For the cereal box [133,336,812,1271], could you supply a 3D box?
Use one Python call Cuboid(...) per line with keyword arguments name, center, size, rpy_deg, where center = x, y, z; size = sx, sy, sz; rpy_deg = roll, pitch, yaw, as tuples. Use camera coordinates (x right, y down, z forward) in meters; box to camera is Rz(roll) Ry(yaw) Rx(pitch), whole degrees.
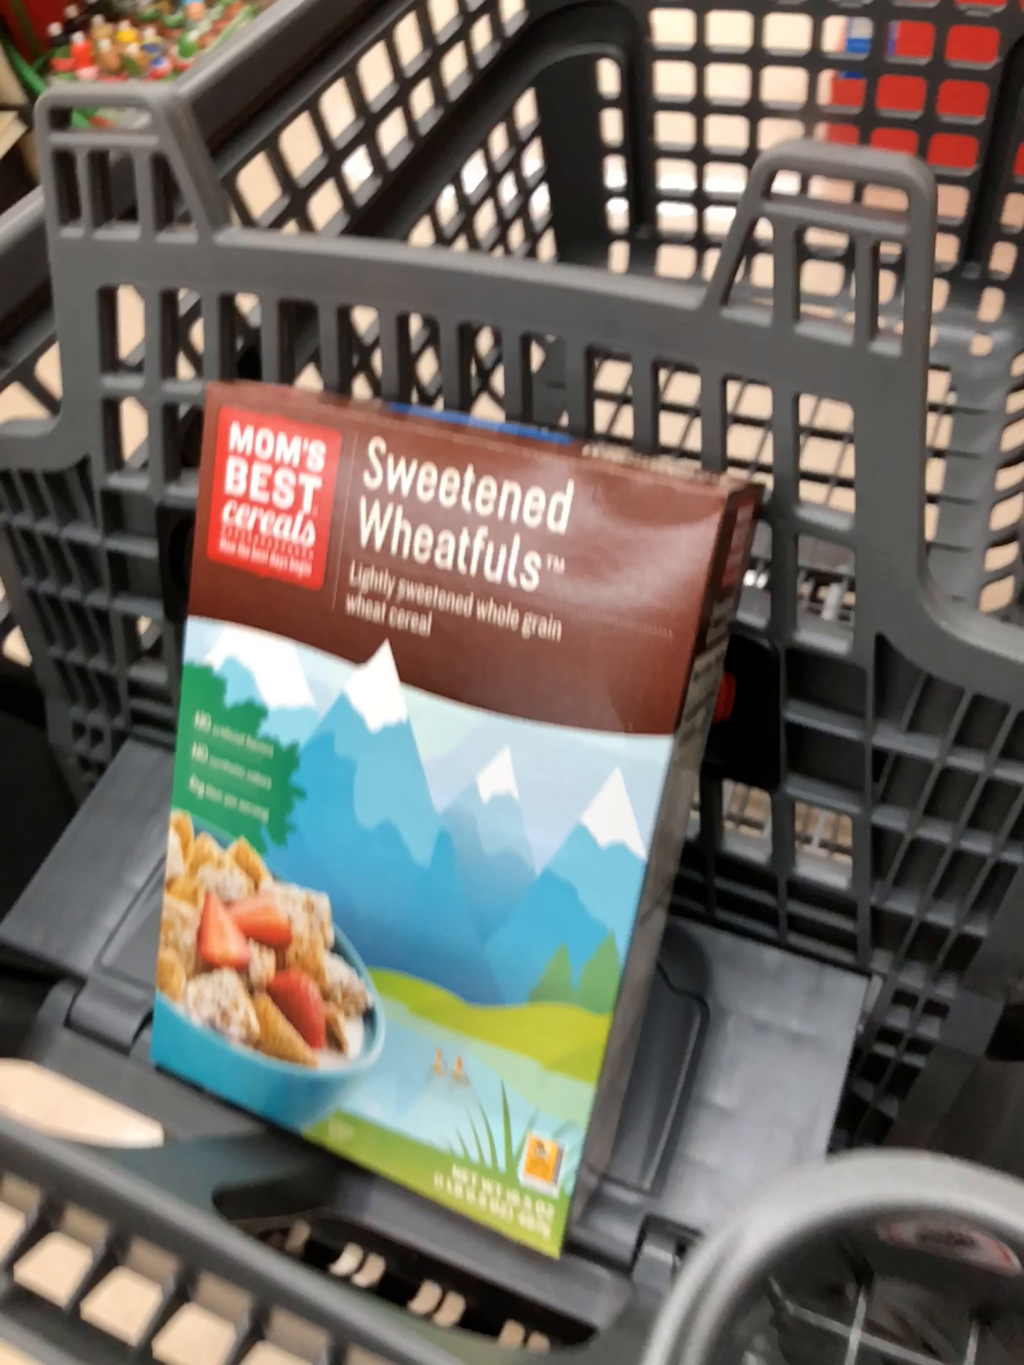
Cuboid(name="cereal box", center=(-0.028, 0.037, 0.434), size=(0.200, 0.290, 0.080), rpy_deg=(17, 18, 21))
